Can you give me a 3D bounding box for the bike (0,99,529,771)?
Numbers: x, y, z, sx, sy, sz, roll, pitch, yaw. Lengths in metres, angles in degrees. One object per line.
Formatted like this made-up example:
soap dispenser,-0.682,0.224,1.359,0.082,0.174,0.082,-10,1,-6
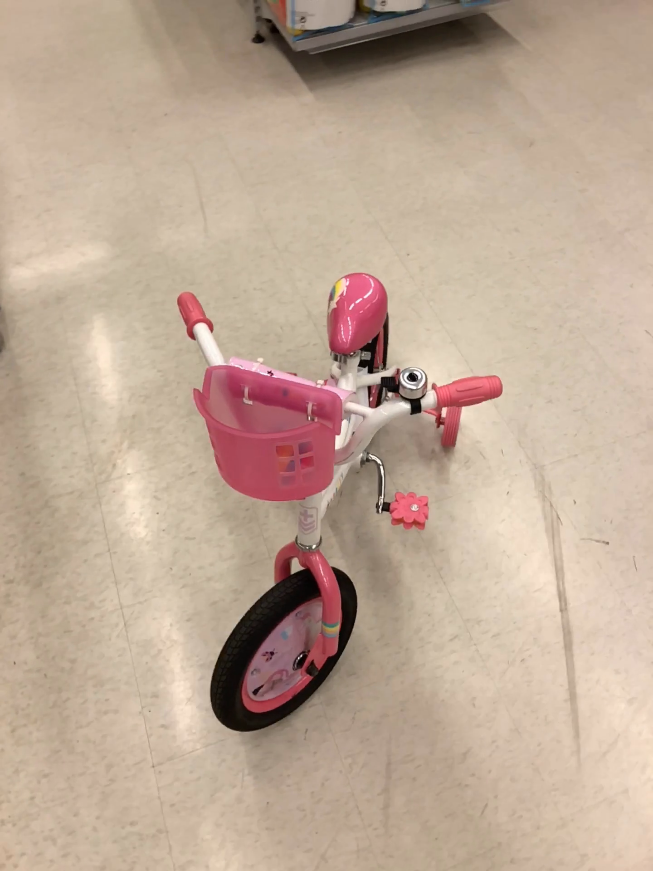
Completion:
bike,-0.034,-0.004,1.233,0.457,0.632,0.881,14,58,12
